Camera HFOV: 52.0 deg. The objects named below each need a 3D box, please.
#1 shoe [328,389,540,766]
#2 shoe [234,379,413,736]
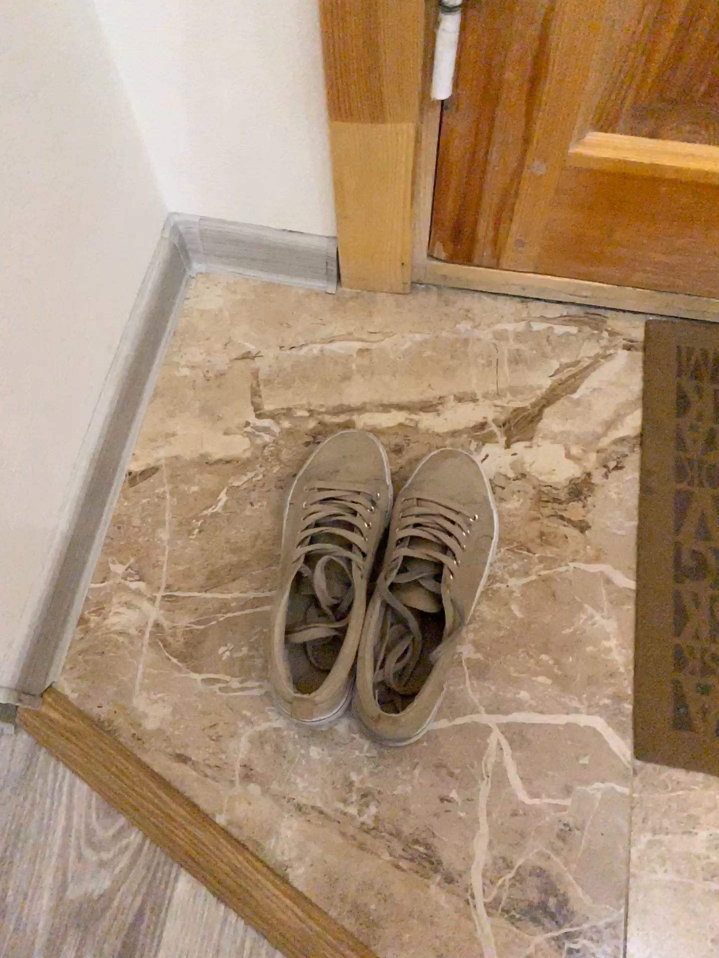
[{"bbox_3d":[0.056,0.070,0.537,0.090,0.100,0.240,13,67,7],"label":"shoe"},{"bbox_3d":[-0.019,0.058,0.554,0.090,0.100,0.241,6,67,4],"label":"shoe"}]
